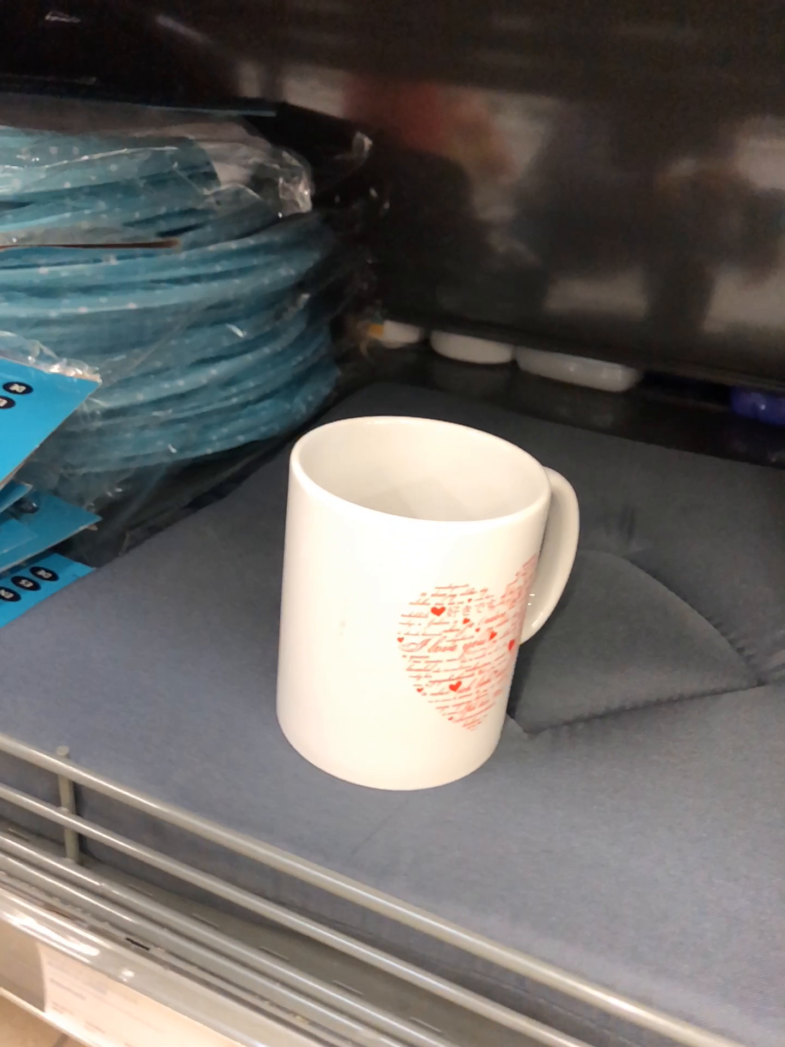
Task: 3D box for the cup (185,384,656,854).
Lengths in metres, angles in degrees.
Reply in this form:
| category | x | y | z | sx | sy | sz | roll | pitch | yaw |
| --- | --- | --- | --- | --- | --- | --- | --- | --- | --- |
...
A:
| category | x | y | z | sx | sy | sz | roll | pitch | yaw |
| --- | --- | --- | --- | --- | --- | --- | --- | --- | --- |
| cup | 0.006 | 0.022 | 0.299 | 0.121 | 0.099 | 0.090 | -15 | 33 | -34 |
